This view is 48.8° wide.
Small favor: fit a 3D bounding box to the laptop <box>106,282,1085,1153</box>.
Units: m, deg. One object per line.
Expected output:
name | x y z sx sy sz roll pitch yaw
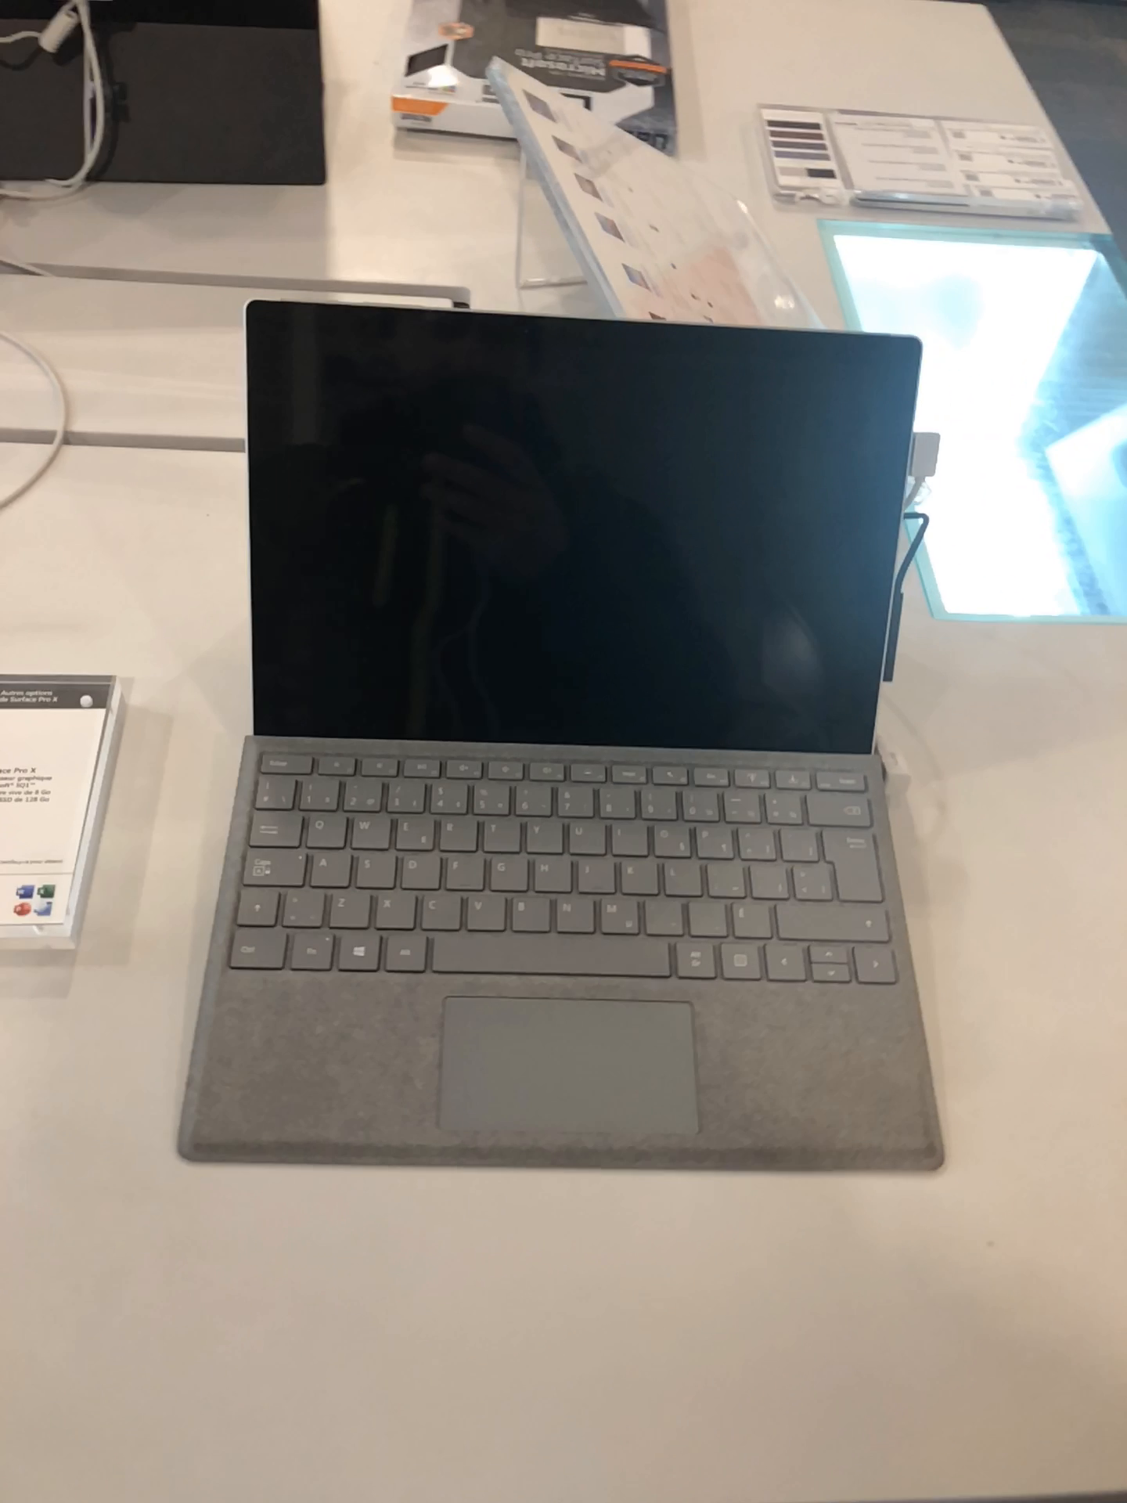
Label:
laptop | 0.008 -0.019 0.492 0.278 0.147 0.298 2 56 -4
